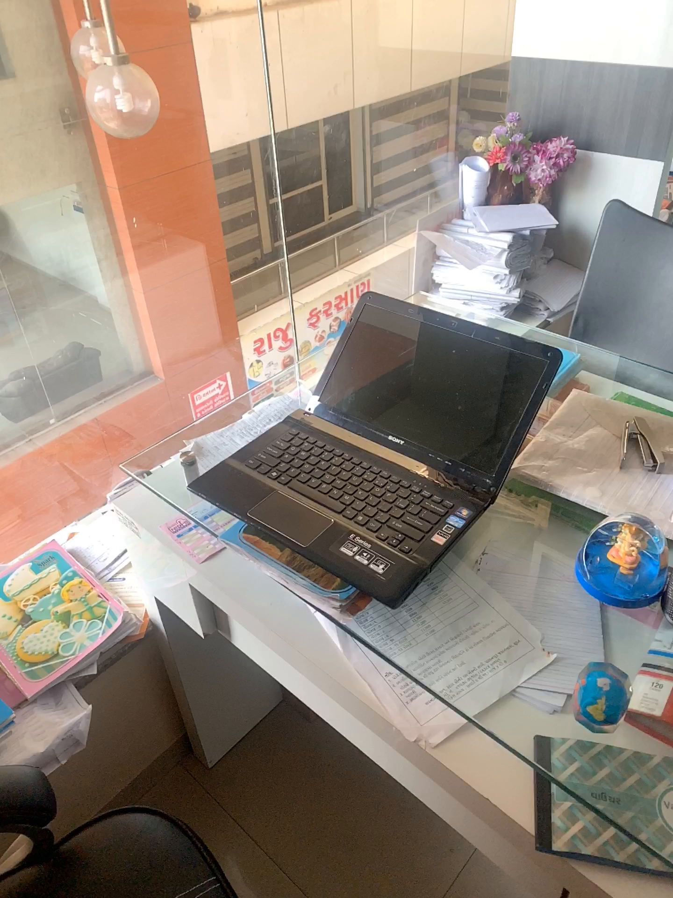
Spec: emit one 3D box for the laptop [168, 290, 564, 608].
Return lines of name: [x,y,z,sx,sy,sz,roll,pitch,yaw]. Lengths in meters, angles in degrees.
laptop: [0.044,-0.034,0.772,0.286,0.111,0.337,24,45,31]
